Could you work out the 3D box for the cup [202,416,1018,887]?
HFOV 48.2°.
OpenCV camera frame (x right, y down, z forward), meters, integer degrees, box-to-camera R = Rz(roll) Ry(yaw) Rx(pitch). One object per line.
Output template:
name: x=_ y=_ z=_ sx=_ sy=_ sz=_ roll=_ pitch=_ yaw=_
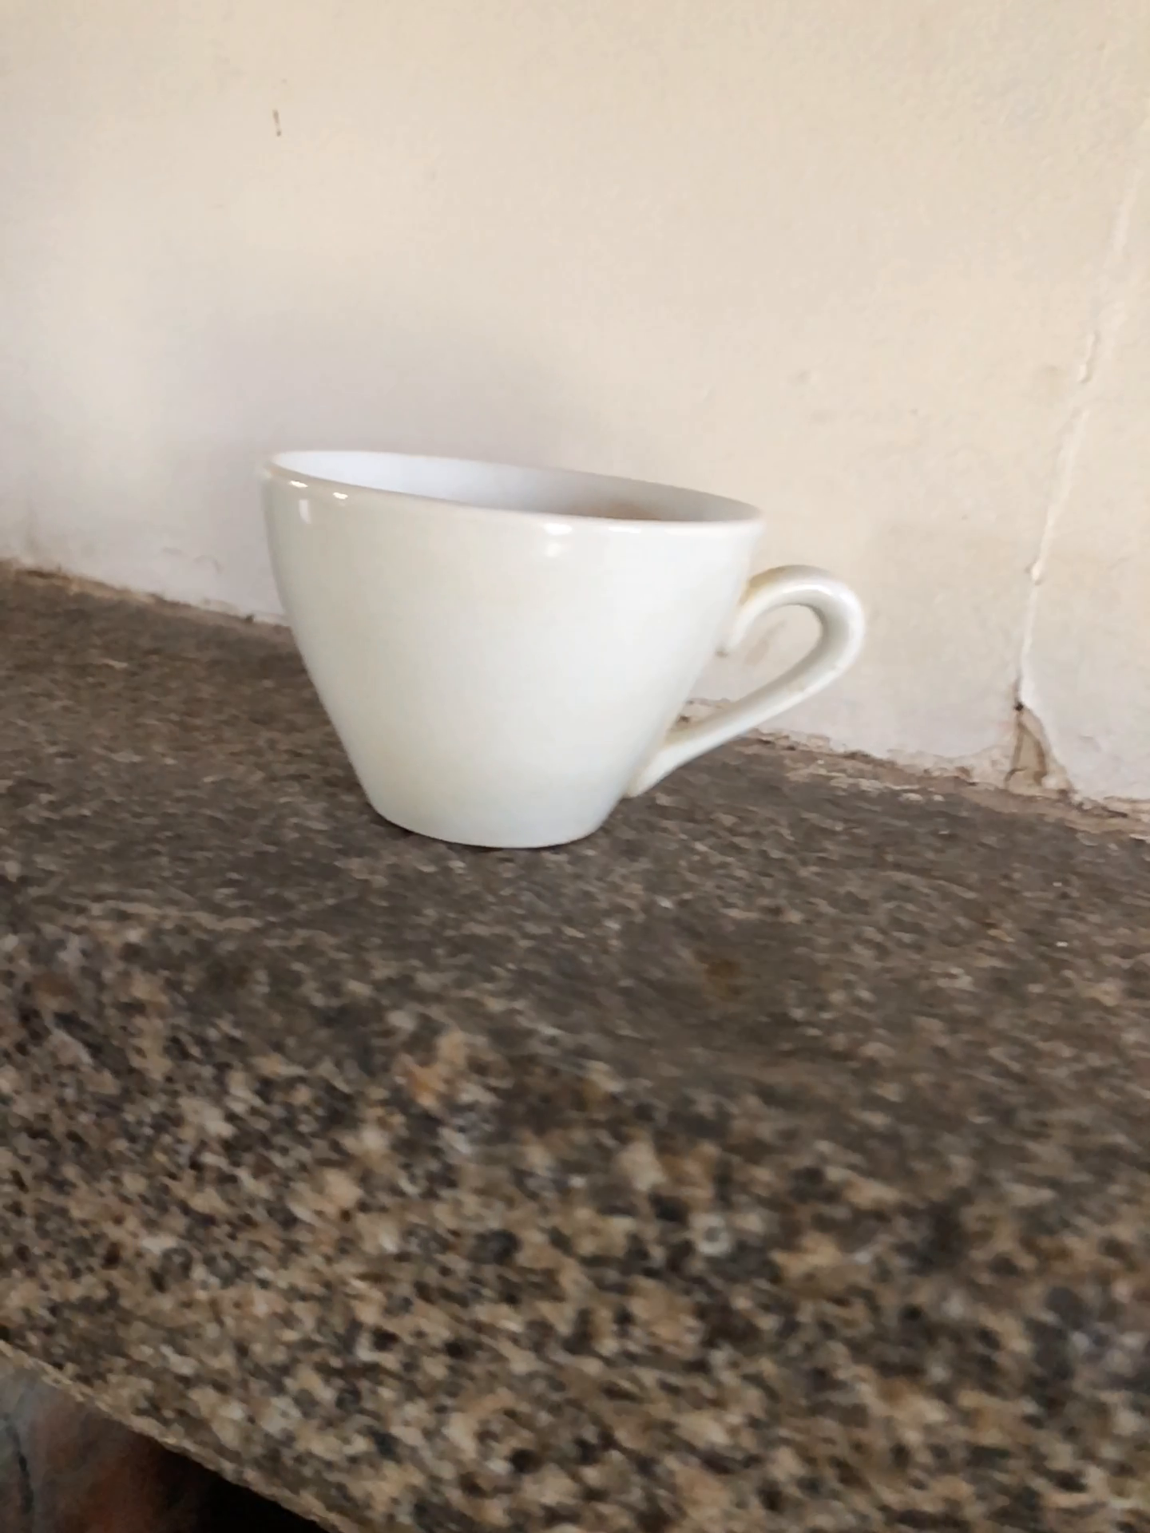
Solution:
cup: x=0.001 y=-0.023 z=0.202 sx=0.100 sy=0.050 sz=0.080 roll=4 pitch=17 yaw=-5
